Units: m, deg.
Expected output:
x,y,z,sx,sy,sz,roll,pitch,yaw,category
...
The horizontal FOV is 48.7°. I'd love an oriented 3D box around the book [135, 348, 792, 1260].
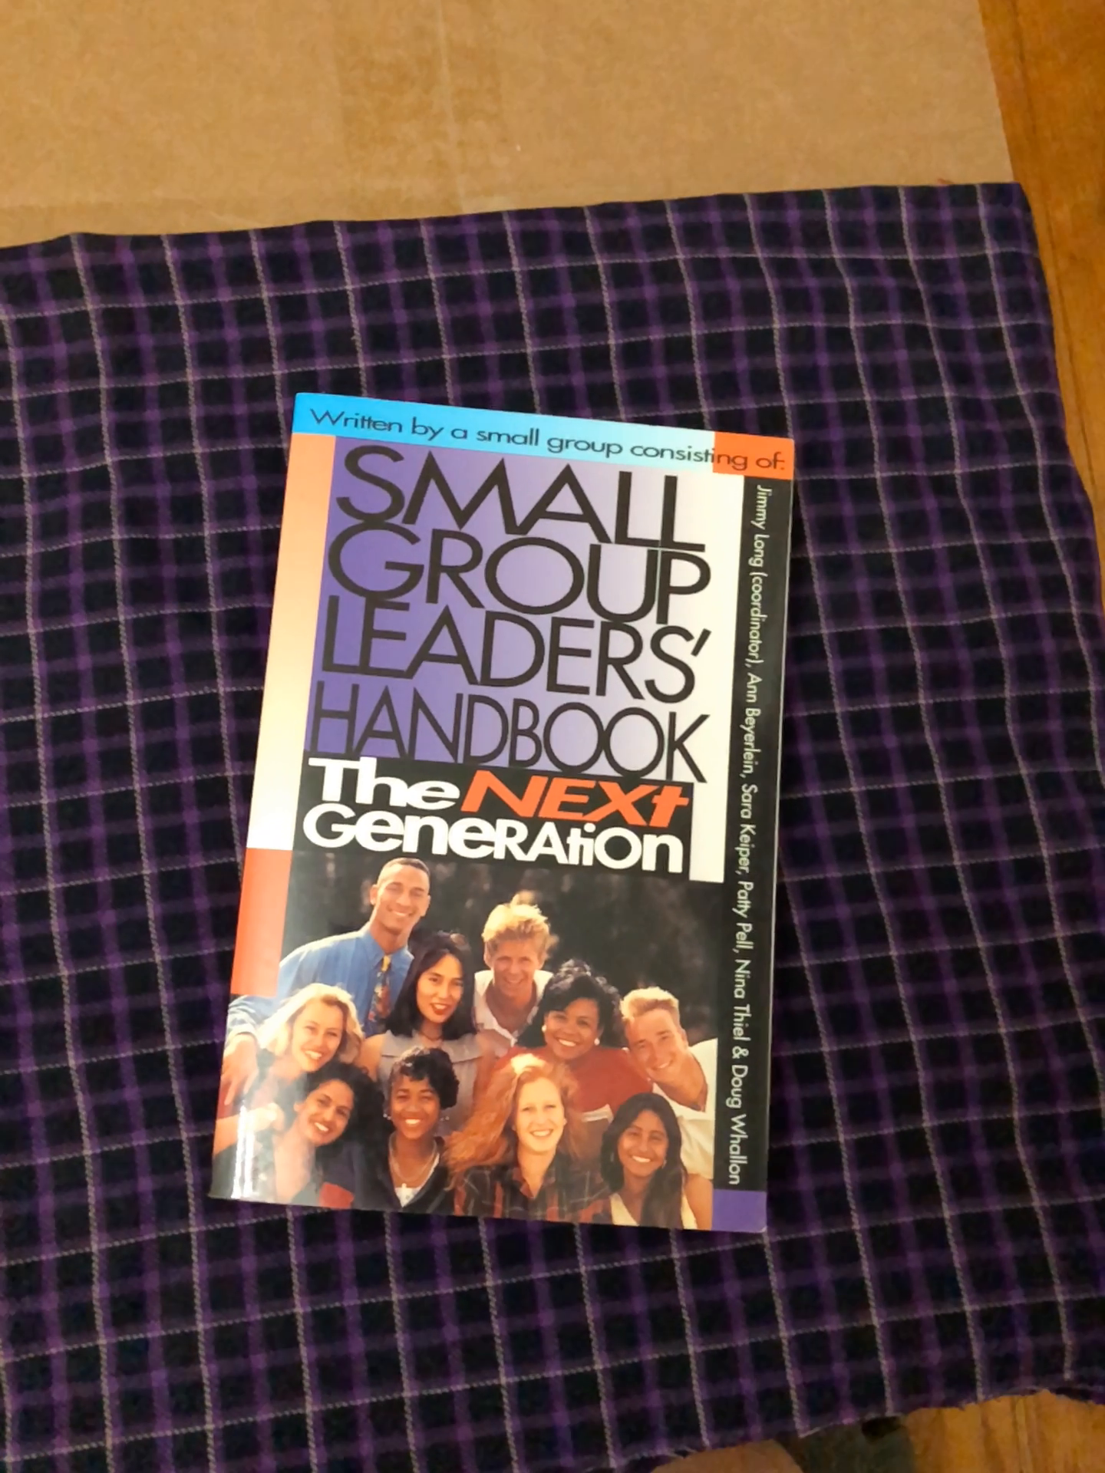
x,y,z,sx,sy,sz,roll,pitch,yaw,category
-0.018,0.014,0.314,0.150,0.030,0.220,2,80,-5,book
